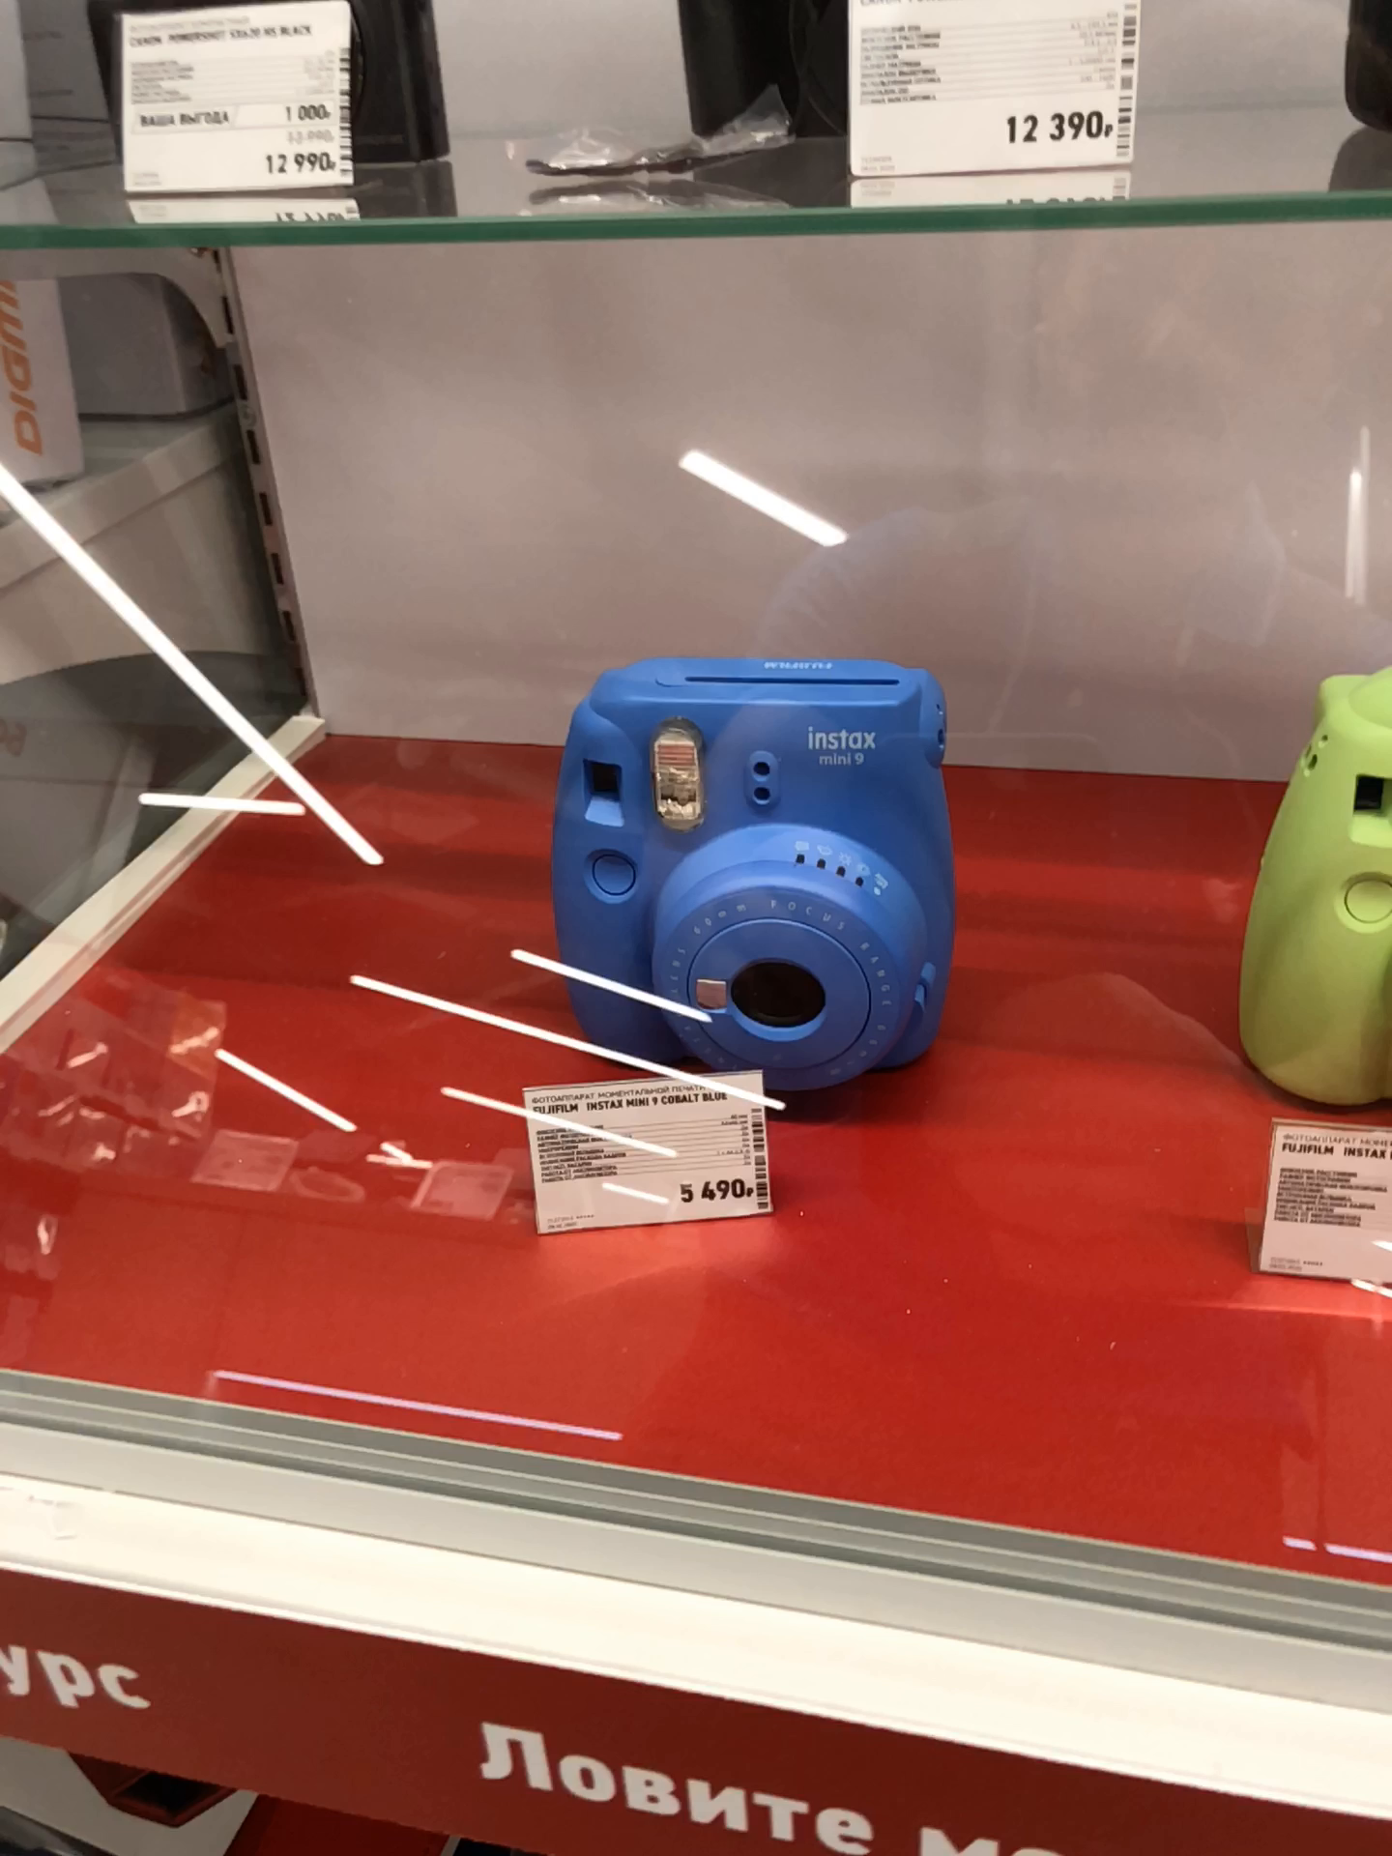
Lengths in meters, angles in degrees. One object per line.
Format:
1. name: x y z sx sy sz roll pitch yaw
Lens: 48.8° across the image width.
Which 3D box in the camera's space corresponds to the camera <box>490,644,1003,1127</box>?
1. camera: 0.018 -0.013 0.422 0.122 0.109 0.070 1 31 8
